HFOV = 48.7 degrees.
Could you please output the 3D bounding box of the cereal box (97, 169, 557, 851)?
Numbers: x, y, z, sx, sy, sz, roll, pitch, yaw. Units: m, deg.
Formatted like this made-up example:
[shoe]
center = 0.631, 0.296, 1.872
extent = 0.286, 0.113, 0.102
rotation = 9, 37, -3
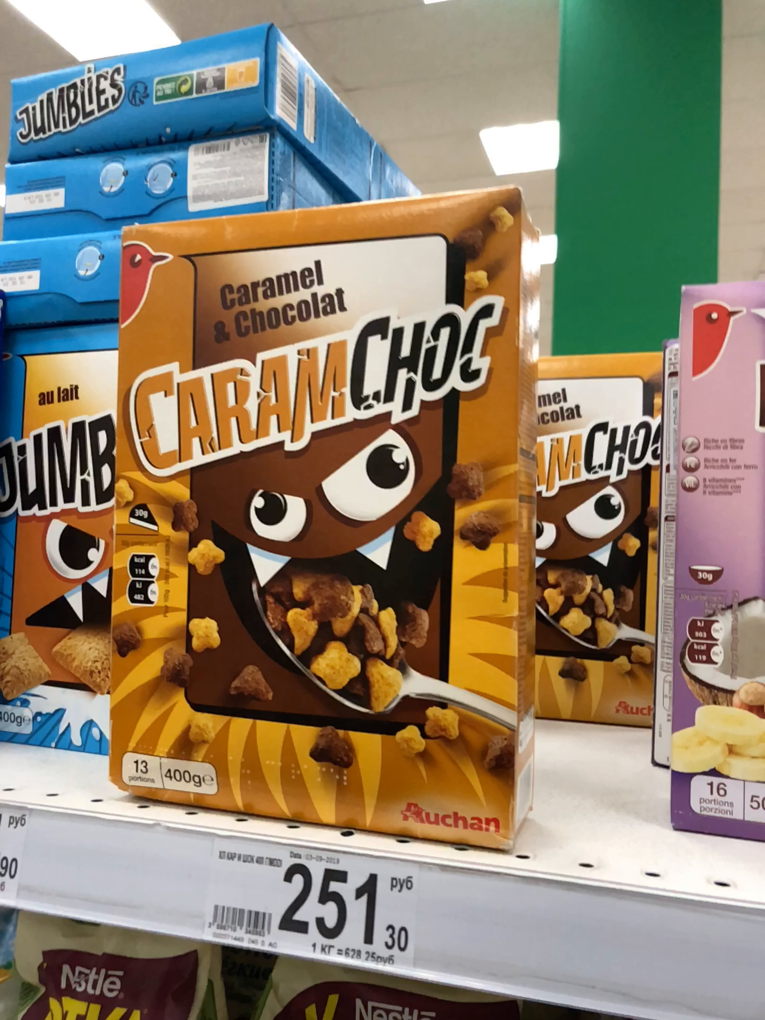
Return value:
[cereal box]
center = -0.026, -0.003, 0.394
extent = 0.200, 0.270, 0.060
rotation = 1, -1, 18
